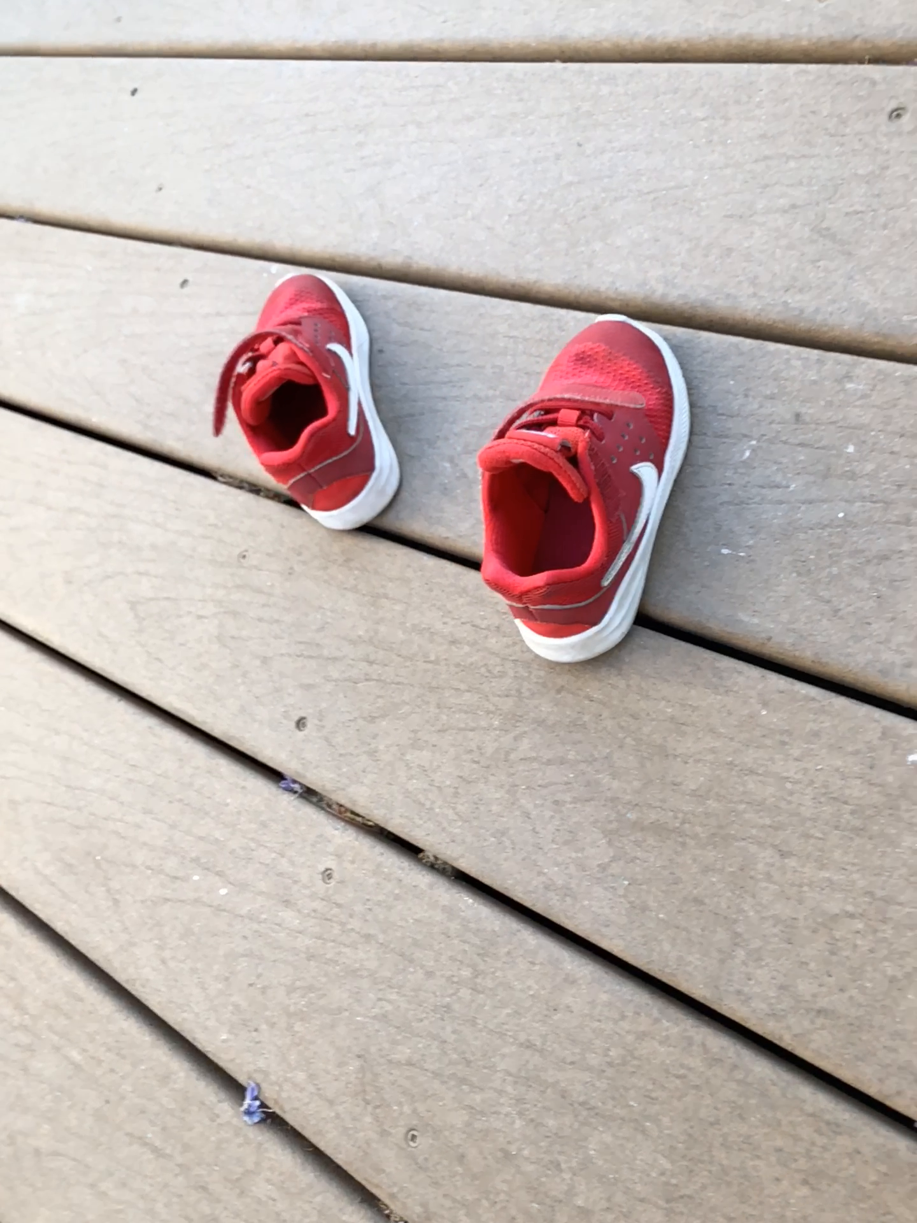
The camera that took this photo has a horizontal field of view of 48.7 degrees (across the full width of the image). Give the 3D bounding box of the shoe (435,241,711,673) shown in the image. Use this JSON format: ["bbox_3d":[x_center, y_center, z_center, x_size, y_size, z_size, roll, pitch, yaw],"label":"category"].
[{"bbox_3d":[0.054,-0.065,0.440,0.070,0.069,0.164,6,77,30],"label":"shoe"}]

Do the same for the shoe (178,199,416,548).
[{"bbox_3d":[-0.088,-0.125,0.540,0.073,0.069,0.153,-25,64,19],"label":"shoe"}]
